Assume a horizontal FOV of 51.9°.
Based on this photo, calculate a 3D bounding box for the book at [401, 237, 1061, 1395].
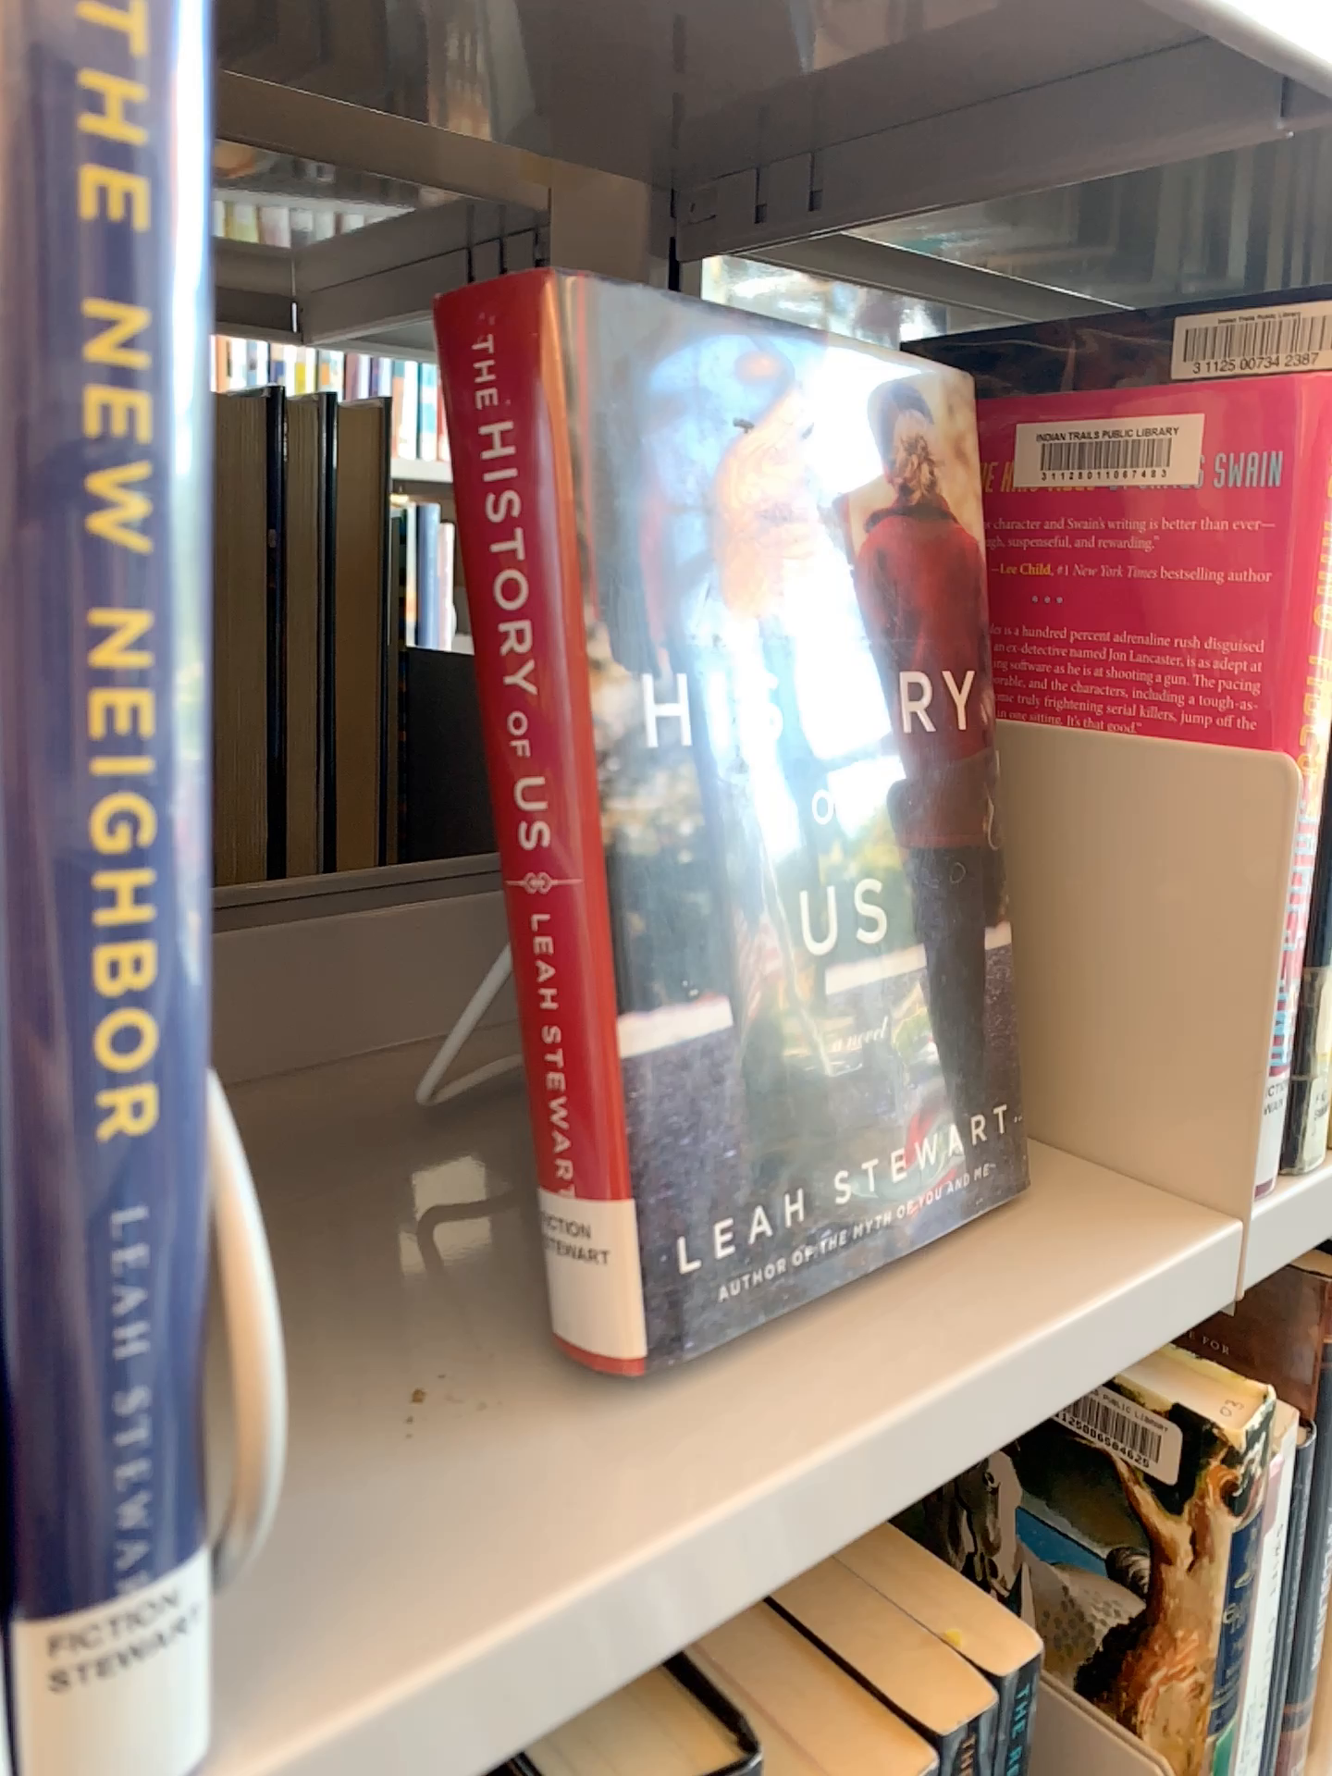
[{"bbox_3d":[0.026,-0.020,0.324,0.153,0.220,0.040,-10,7,-41],"label":"book"}]
